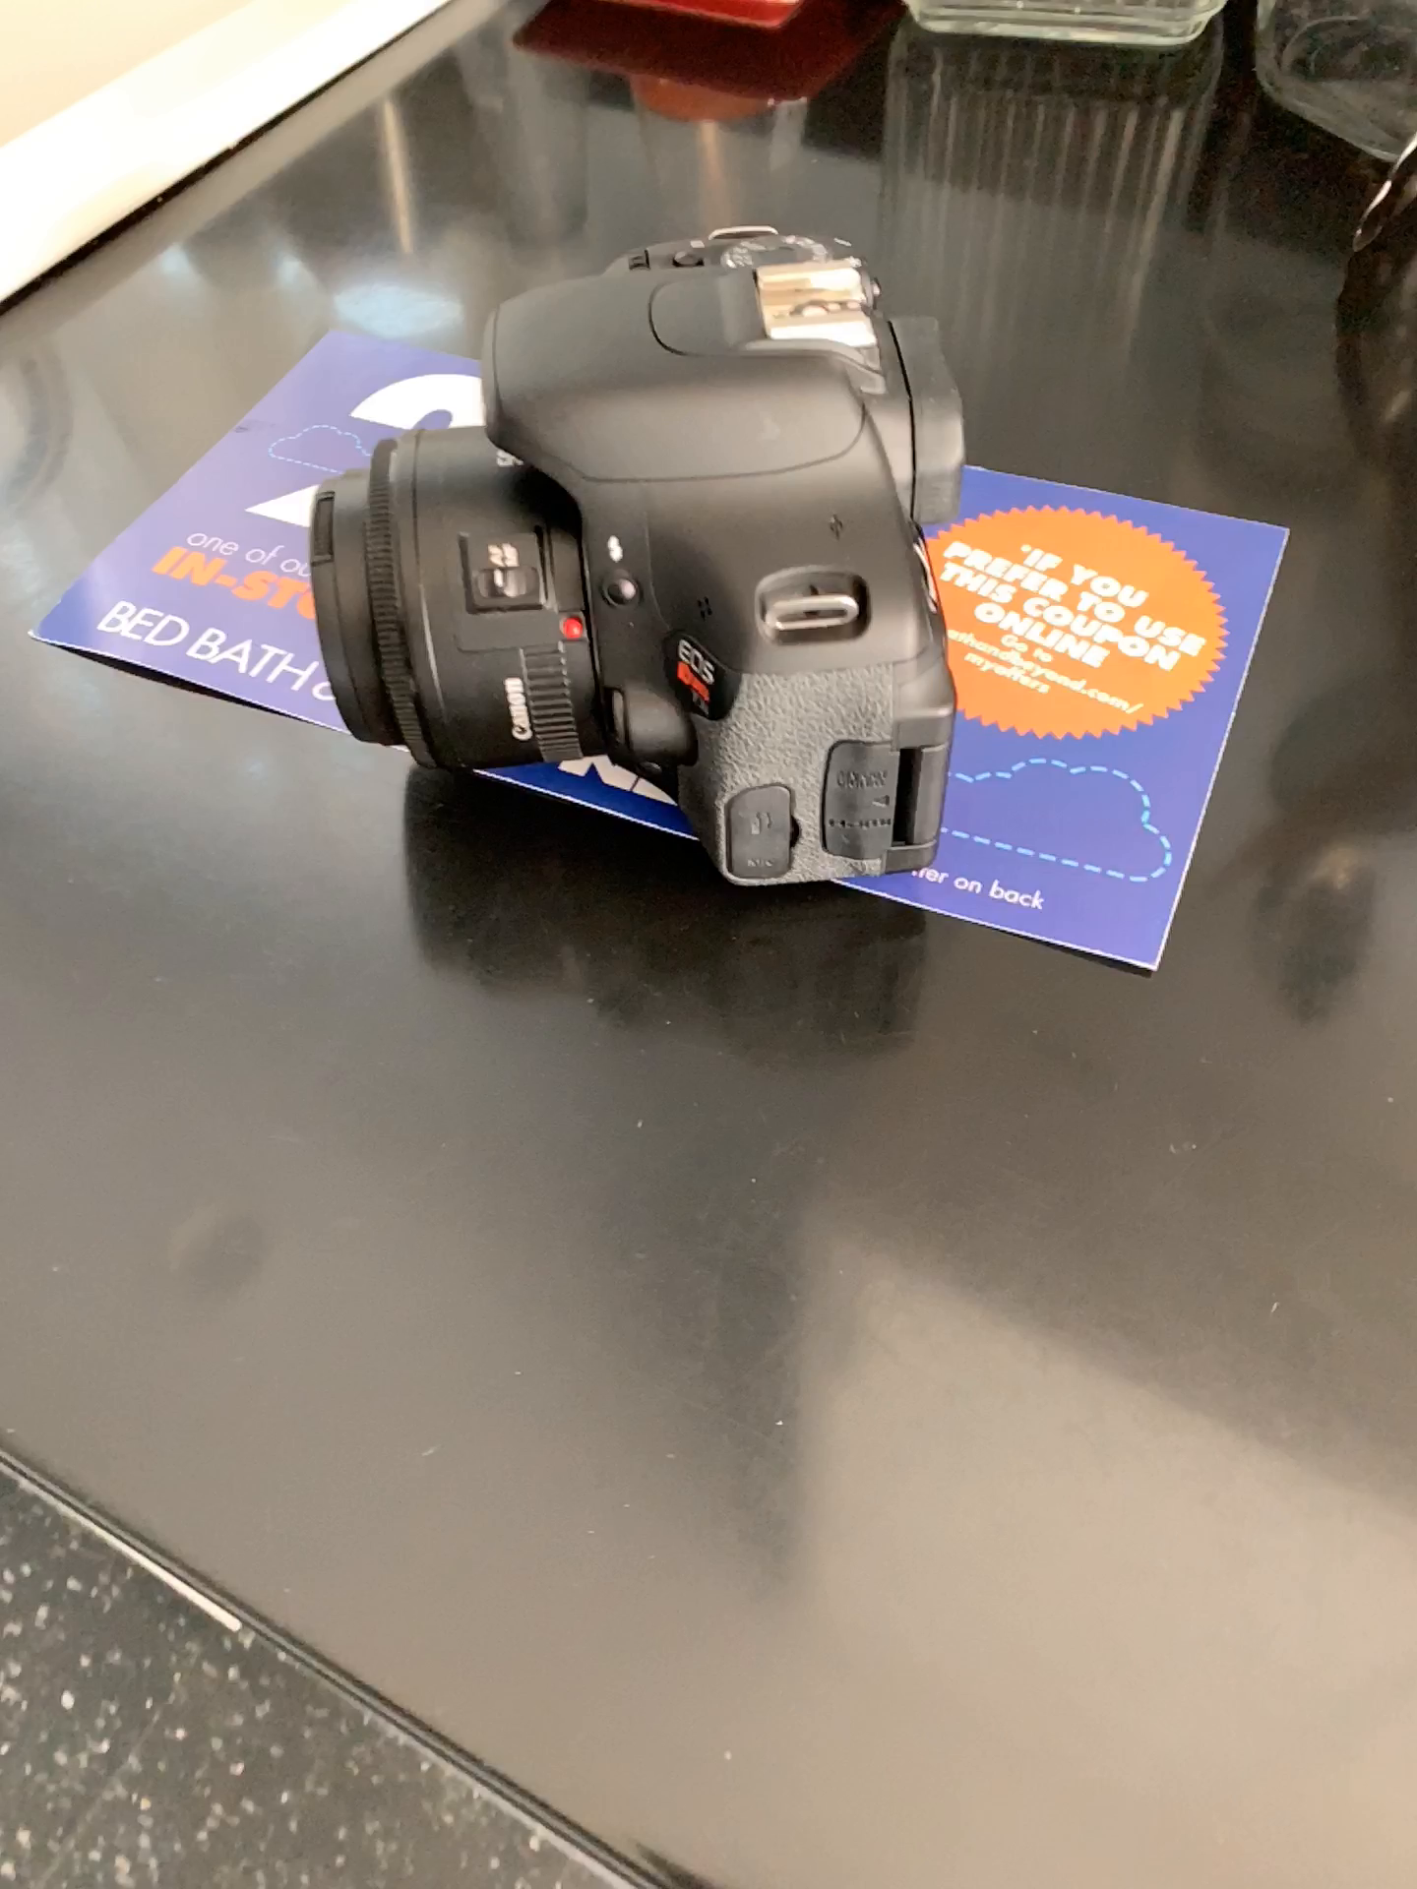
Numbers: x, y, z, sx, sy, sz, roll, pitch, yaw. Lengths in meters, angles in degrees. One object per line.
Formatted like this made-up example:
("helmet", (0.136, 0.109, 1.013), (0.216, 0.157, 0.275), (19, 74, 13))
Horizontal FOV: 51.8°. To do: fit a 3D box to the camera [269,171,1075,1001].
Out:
("camera", (-0.010, -0.076, 0.299), (0.124, 0.085, 0.141), (-5, 53, -1))
